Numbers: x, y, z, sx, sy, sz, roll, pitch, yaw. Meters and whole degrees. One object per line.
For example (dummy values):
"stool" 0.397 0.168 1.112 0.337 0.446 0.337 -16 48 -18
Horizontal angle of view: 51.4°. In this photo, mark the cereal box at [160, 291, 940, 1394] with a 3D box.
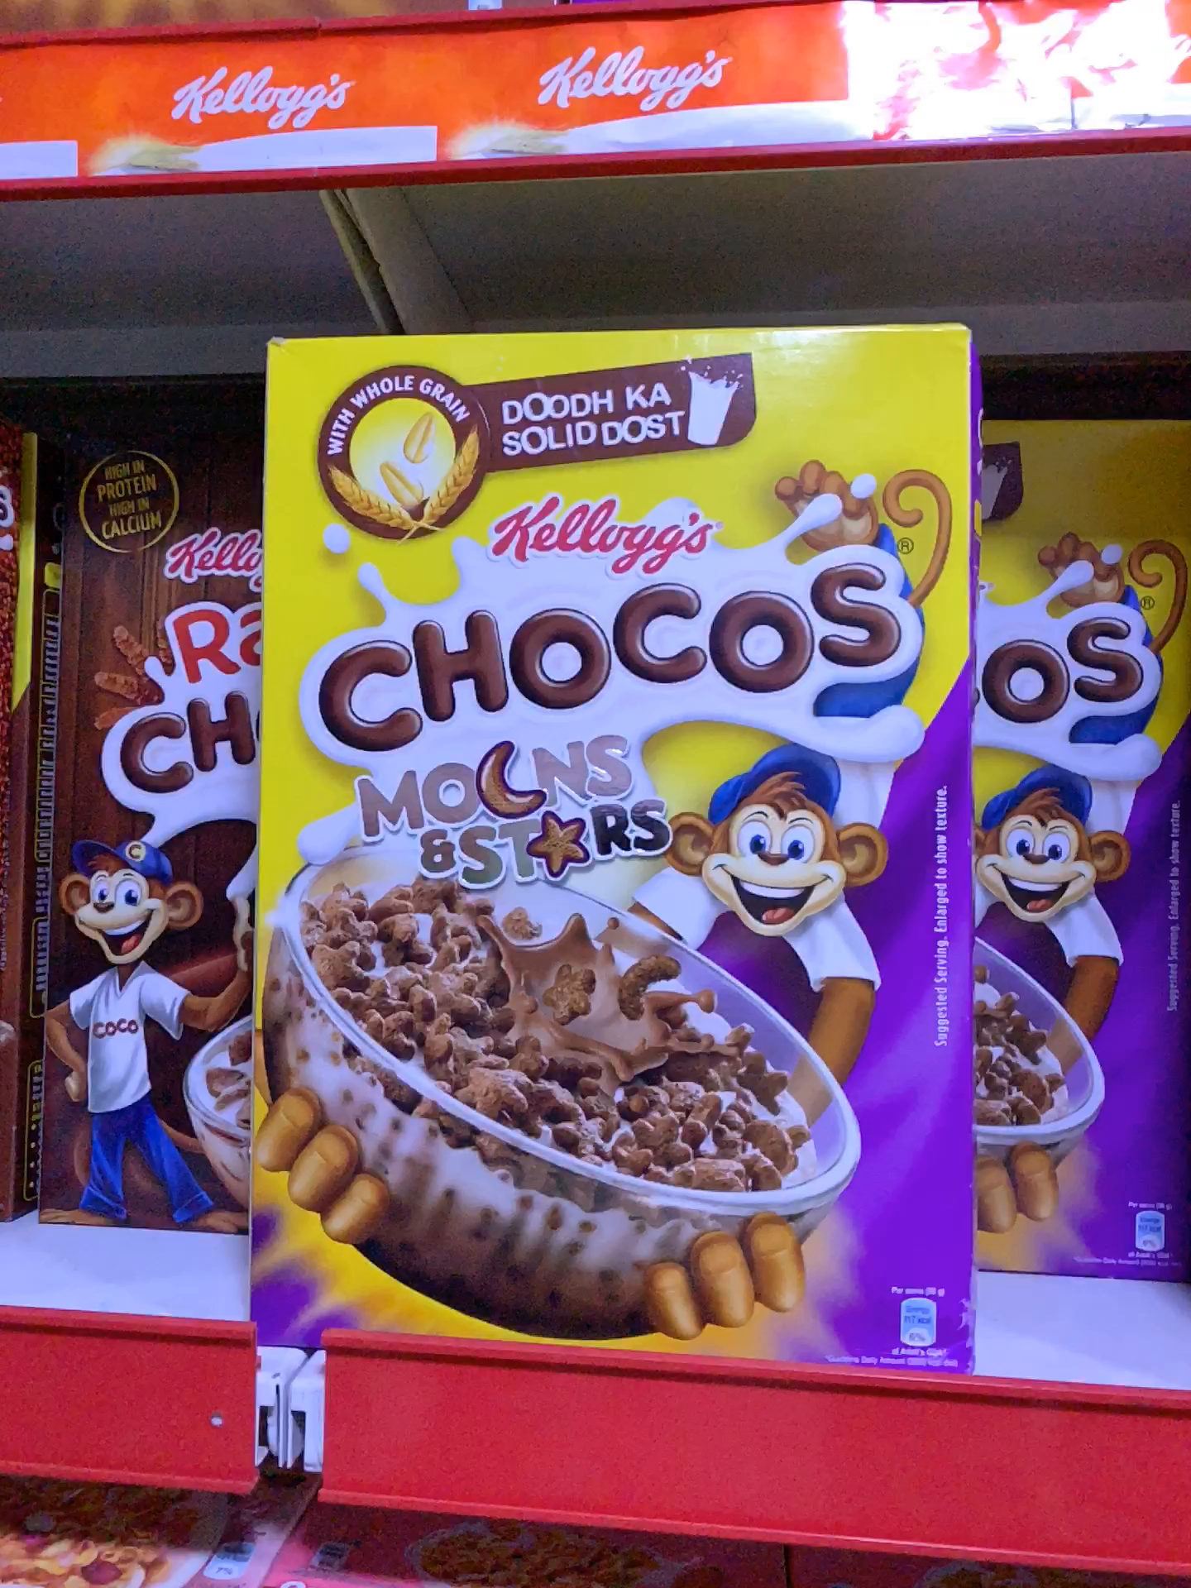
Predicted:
"cereal box" -0.010 0.009 0.319 0.180 0.250 0.060 1 -1 6
